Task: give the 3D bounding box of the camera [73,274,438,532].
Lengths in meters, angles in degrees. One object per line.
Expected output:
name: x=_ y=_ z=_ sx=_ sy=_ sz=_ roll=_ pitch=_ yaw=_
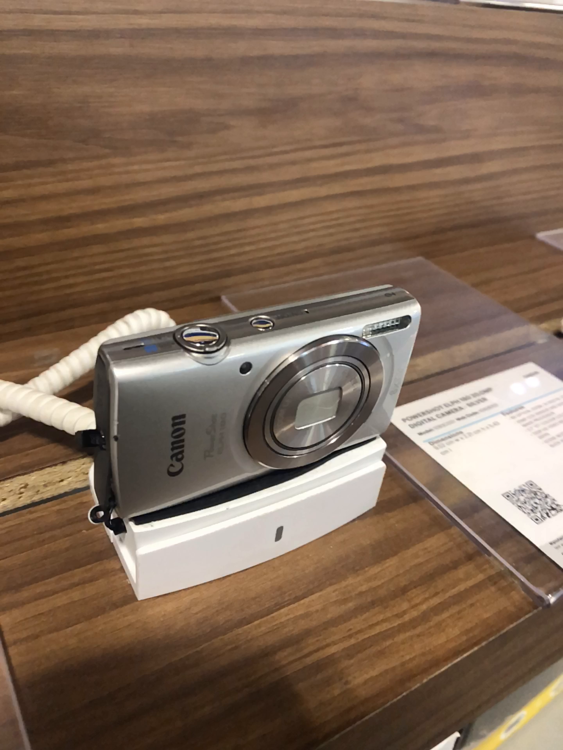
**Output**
camera: x=-0.005 y=0.005 z=0.182 sx=0.100 sy=0.050 sz=0.020 roll=-14 pitch=41 yaw=-27
